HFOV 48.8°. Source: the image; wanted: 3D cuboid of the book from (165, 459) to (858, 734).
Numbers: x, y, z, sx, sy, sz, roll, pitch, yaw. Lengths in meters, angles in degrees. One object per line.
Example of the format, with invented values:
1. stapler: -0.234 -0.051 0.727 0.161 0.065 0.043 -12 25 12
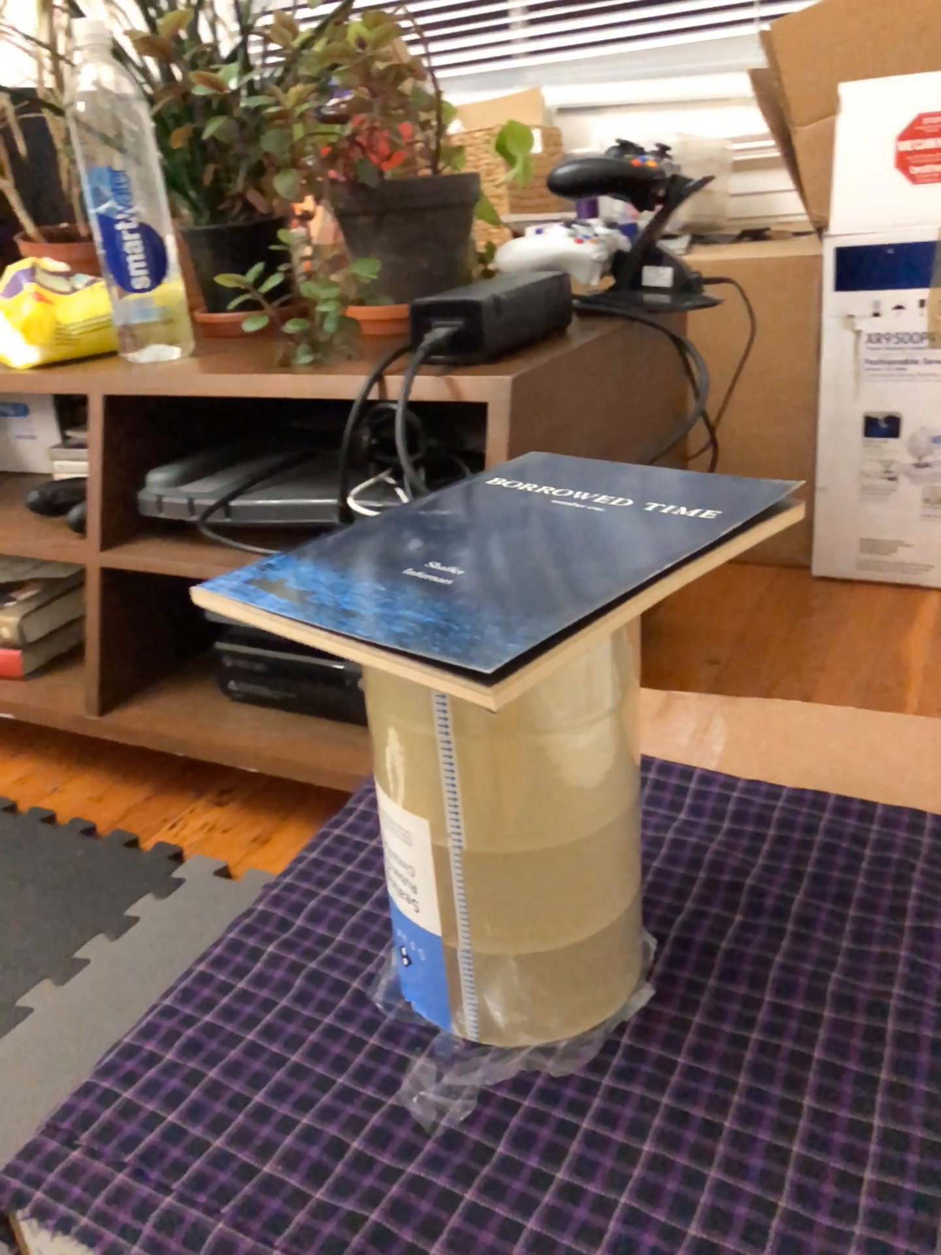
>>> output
1. book: 0.026 -0.029 0.404 0.160 0.010 0.231 15 28 38
